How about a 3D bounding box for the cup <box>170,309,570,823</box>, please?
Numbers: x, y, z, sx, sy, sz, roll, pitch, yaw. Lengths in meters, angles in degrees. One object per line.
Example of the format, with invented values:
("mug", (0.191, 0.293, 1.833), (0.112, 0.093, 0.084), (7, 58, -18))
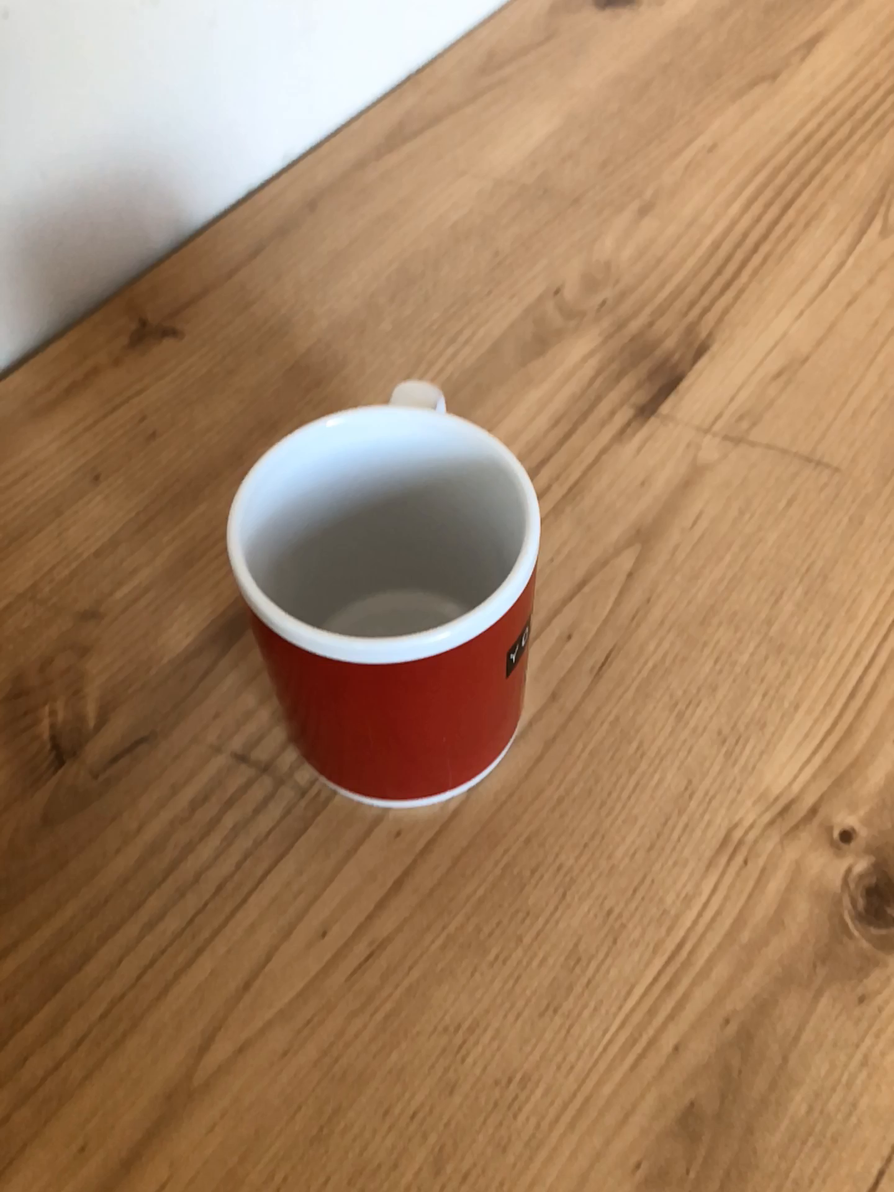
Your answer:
("cup", (-0.013, -0.010, 0.300), (0.091, 0.086, 0.124), (3, 55, 5))
